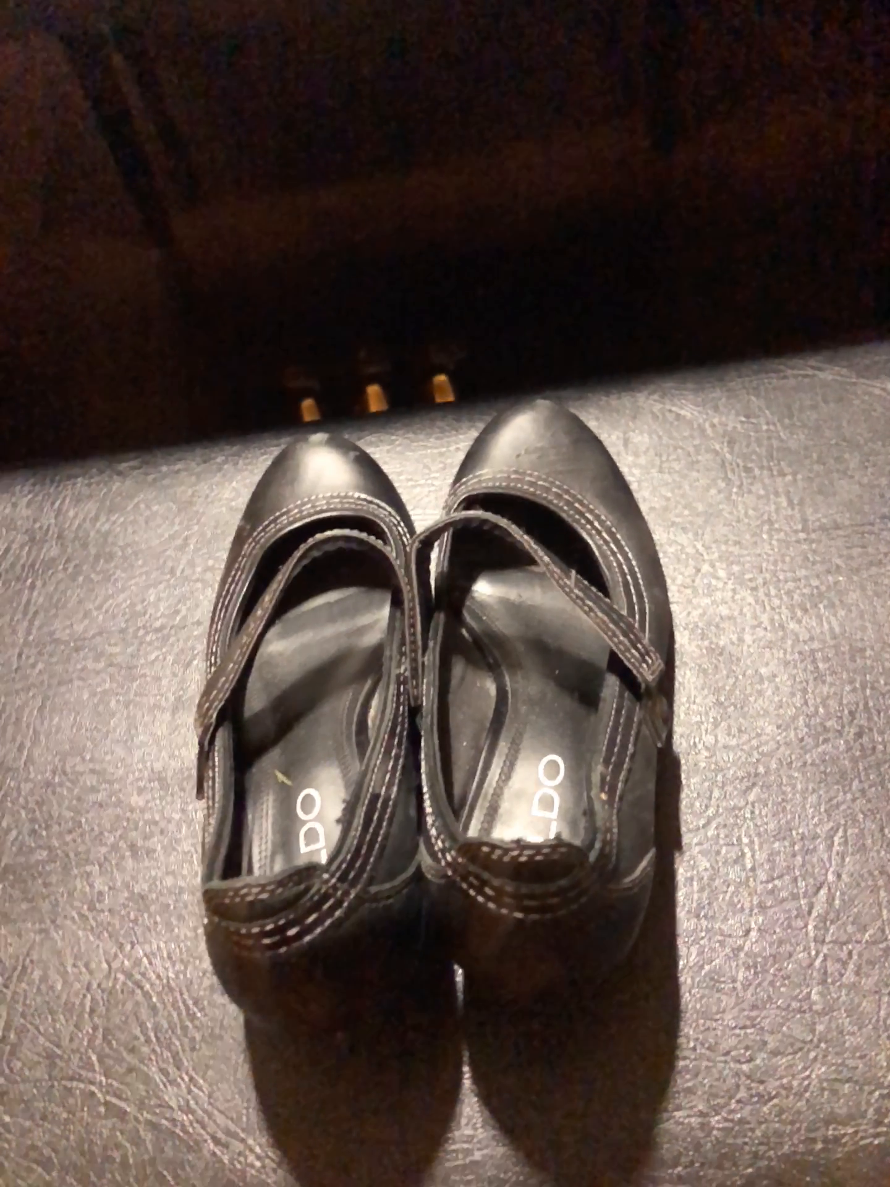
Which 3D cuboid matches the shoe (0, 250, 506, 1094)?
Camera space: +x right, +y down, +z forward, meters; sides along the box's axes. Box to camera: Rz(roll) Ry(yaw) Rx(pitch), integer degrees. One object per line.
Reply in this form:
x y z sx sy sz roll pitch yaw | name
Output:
-0.051 0.014 0.321 0.100 0.109 0.241 -9 53 2 | shoe

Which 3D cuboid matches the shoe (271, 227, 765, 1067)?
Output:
0.026 0.007 0.313 0.100 0.109 0.241 -2 54 7 | shoe
